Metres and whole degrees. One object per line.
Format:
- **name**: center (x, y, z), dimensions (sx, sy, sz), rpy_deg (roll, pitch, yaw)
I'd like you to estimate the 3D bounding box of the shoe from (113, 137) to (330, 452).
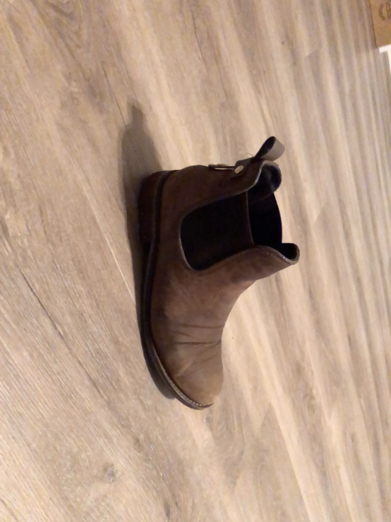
- **shoe**: center (0.028, 0.026, 0.402), dimensions (0.101, 0.139, 0.240), rpy_deg (-18, 102, -57)
